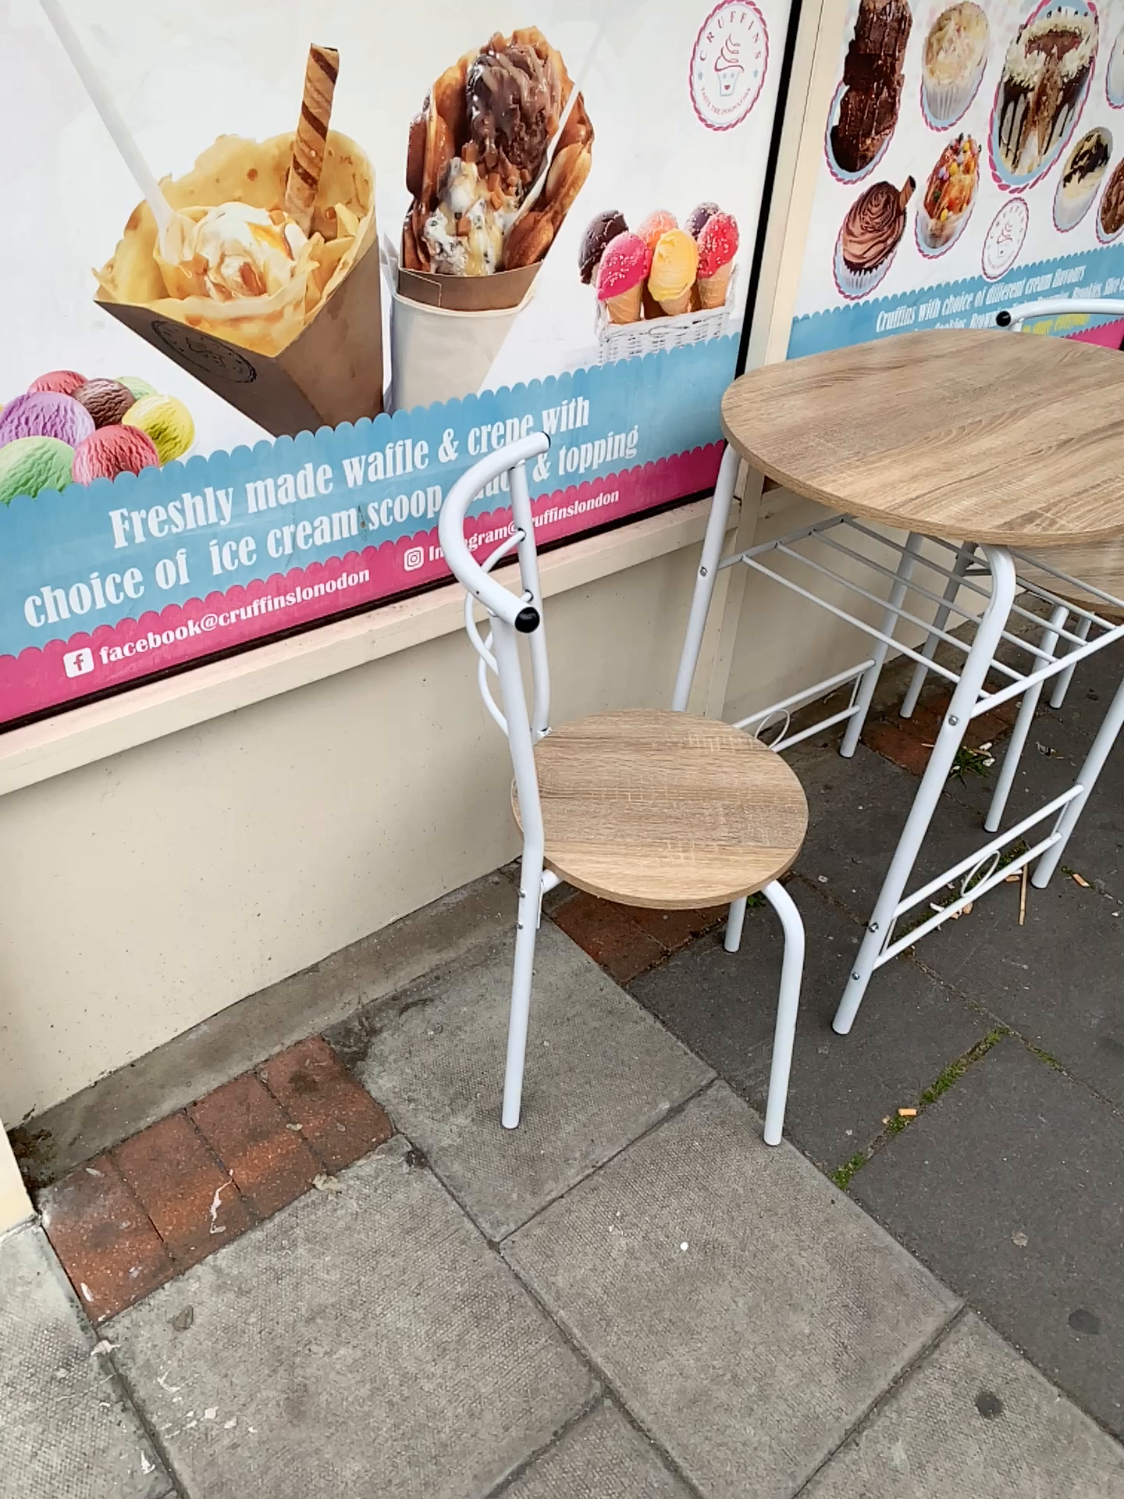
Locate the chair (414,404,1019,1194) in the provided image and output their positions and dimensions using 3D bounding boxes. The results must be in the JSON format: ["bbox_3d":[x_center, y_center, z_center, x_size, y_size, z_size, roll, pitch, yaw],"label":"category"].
[{"bbox_3d":[0.086,0.053,1.372,0.500,0.752,0.535,-2,36,-8],"label":"chair"}]
